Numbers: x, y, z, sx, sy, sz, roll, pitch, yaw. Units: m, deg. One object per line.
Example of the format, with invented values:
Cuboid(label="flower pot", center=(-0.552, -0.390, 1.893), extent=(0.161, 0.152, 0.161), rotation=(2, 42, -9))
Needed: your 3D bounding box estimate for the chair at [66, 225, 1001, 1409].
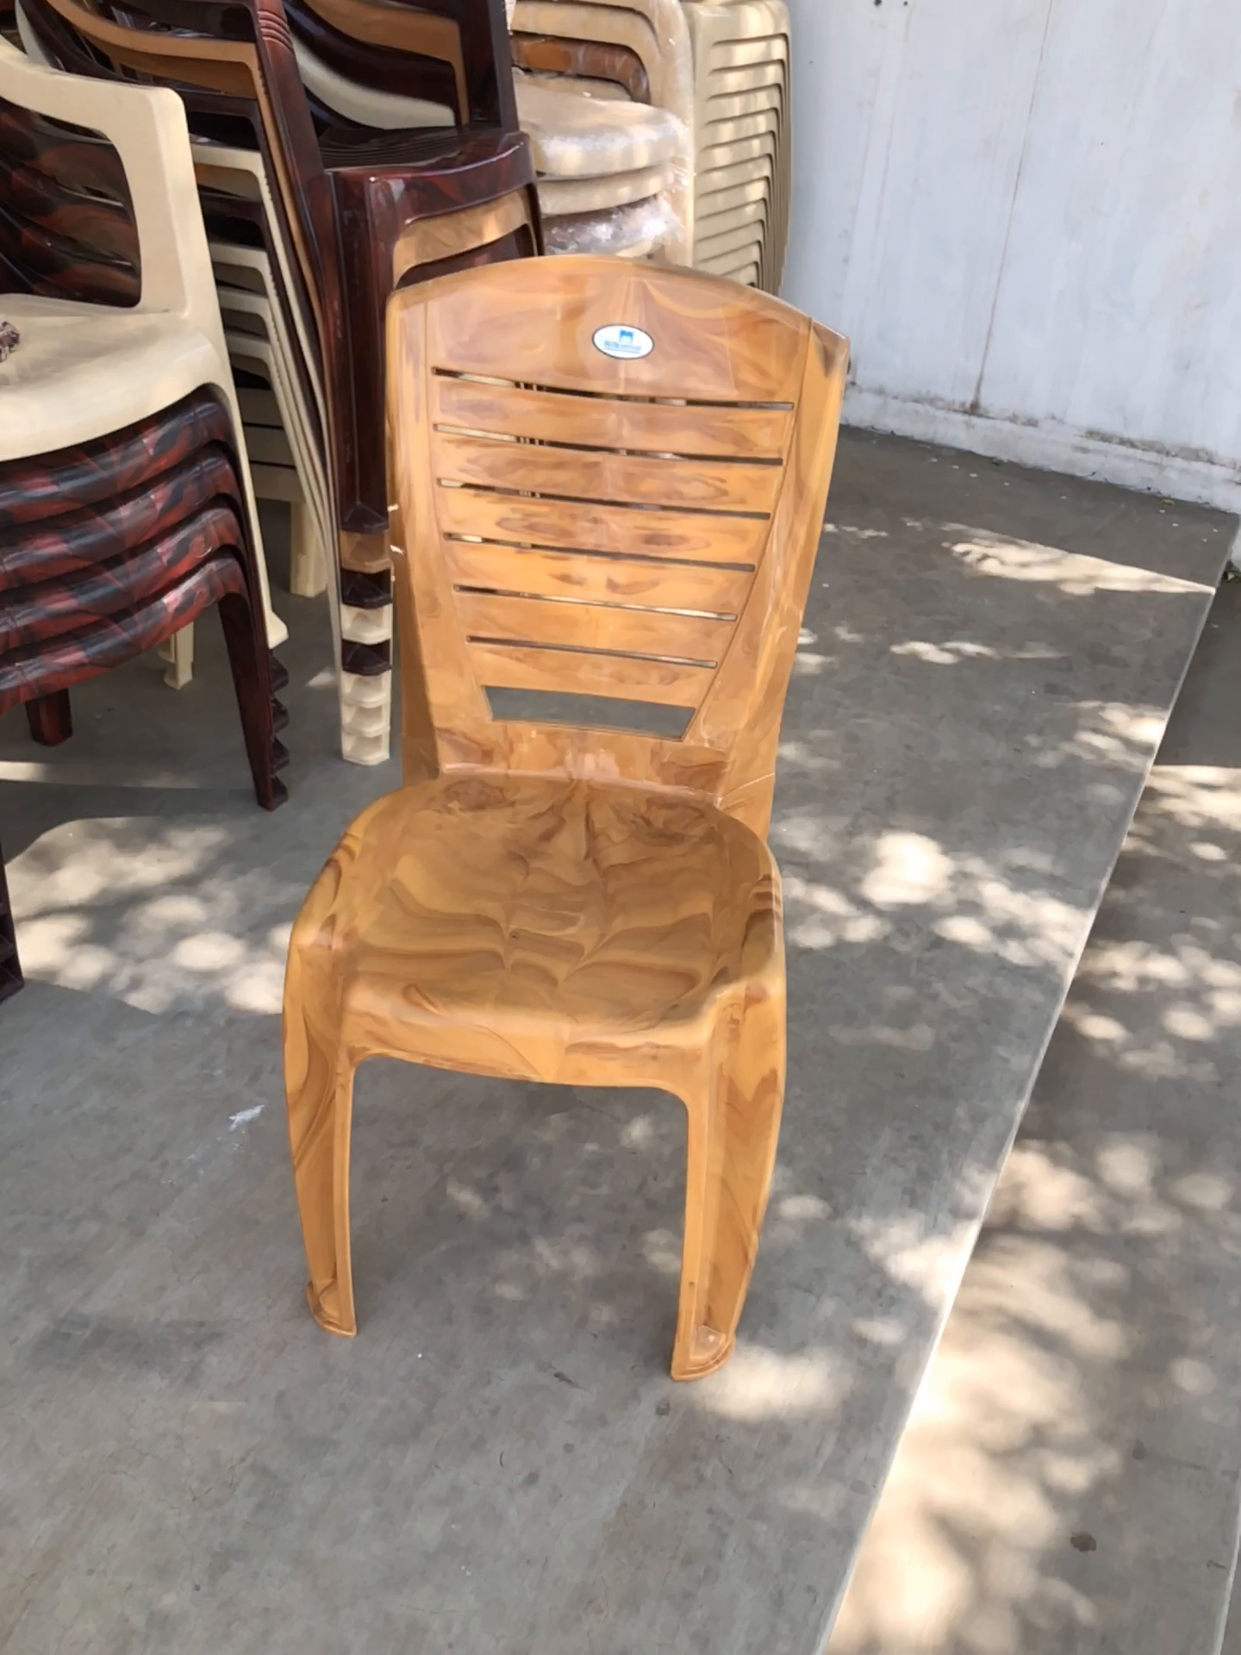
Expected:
Cuboid(label="chair", center=(-0.048, -0.011, 1.189), extent=(0.500, 0.815, 0.563), rotation=(5, 35, 2))
